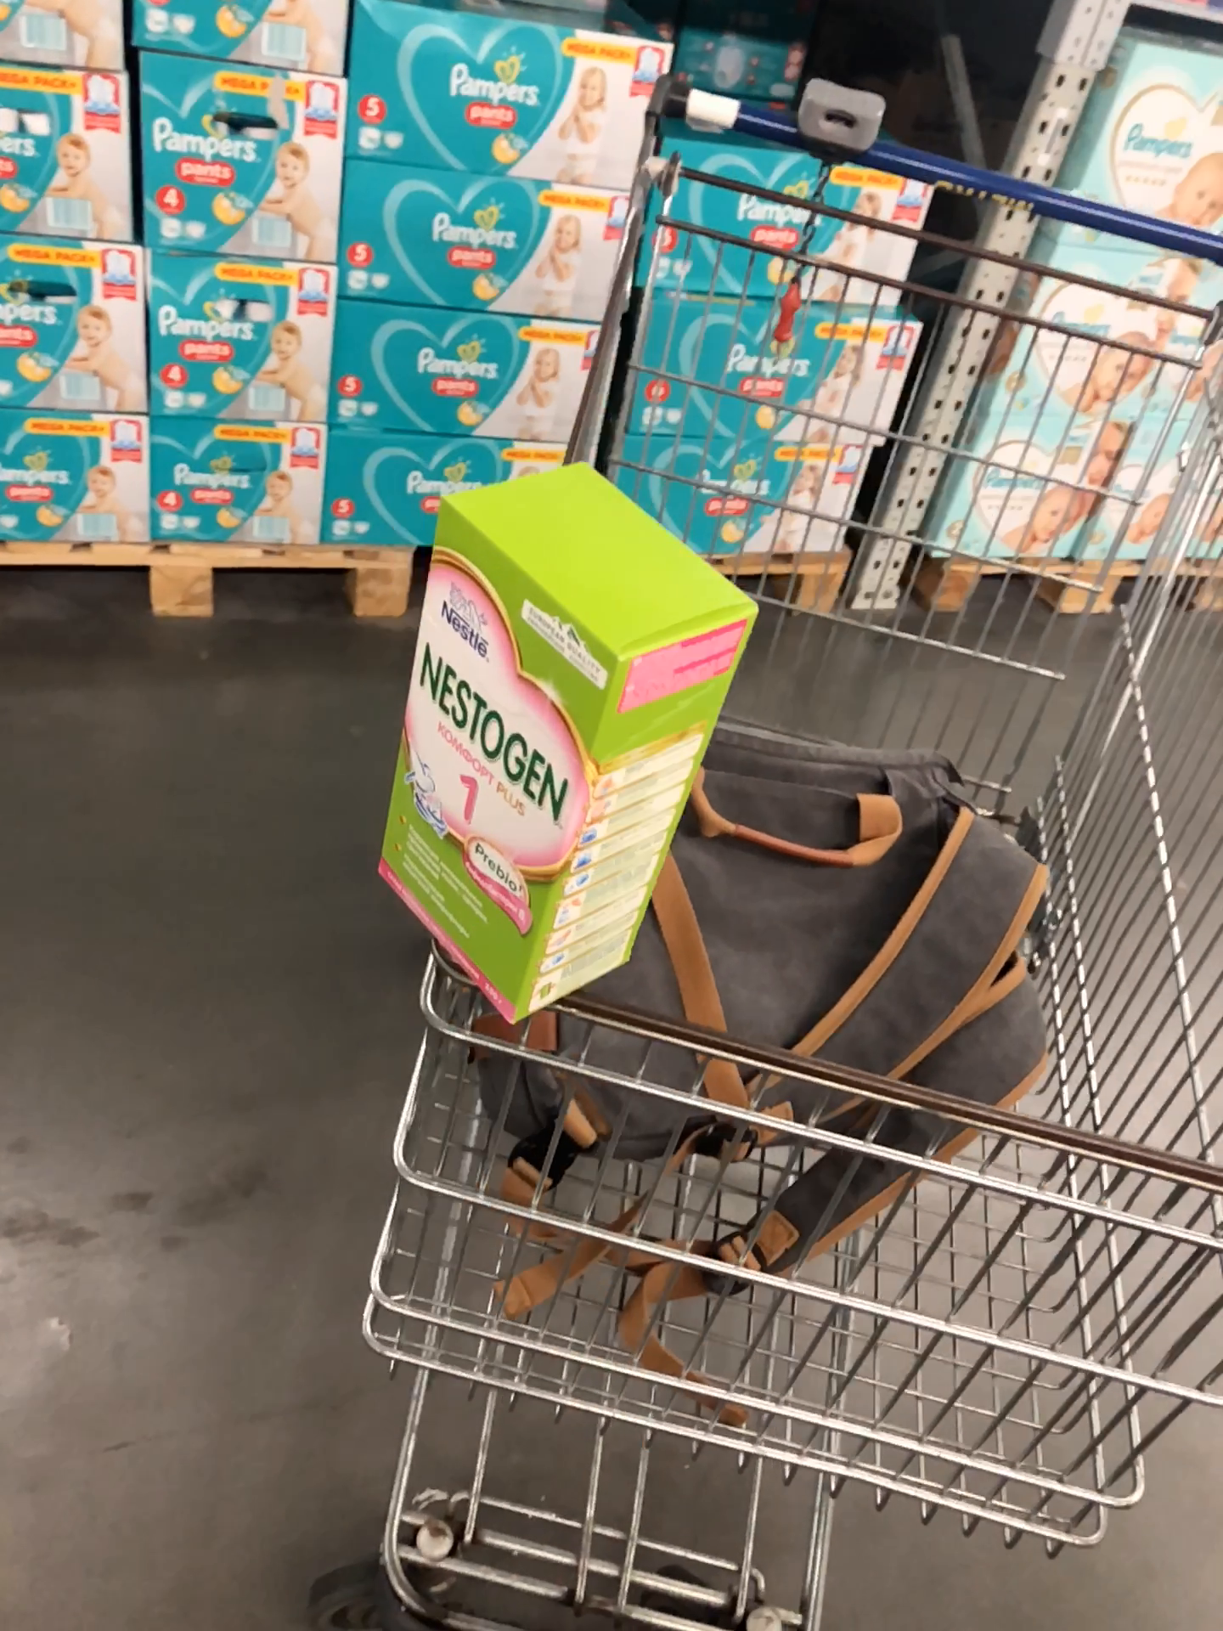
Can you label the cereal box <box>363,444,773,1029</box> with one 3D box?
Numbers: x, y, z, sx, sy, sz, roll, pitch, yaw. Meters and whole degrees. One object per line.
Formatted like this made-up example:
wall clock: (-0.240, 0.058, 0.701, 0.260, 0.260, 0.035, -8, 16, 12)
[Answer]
cereal box: (-0.026, -0.026, 0.511, 0.070, 0.189, 0.100, -24, 56, -37)
